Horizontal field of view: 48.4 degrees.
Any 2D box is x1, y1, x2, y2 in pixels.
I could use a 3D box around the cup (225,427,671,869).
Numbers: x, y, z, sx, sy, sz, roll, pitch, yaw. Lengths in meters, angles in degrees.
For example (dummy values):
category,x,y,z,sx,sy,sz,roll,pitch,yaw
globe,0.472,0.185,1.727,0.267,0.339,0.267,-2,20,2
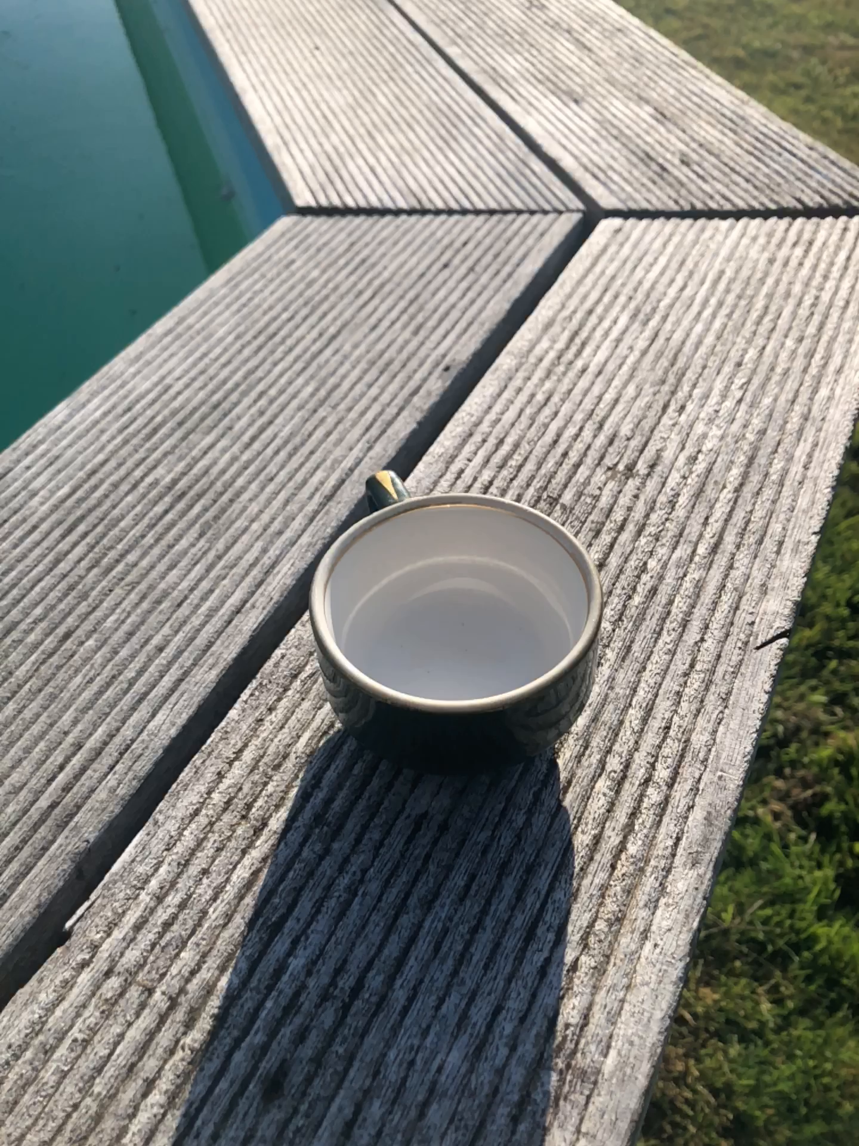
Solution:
category,x,y,z,sx,sy,sz,roll,pitch,yaw
cup,0.001,0.014,0.260,0.083,0.038,0.095,-20,49,-14
